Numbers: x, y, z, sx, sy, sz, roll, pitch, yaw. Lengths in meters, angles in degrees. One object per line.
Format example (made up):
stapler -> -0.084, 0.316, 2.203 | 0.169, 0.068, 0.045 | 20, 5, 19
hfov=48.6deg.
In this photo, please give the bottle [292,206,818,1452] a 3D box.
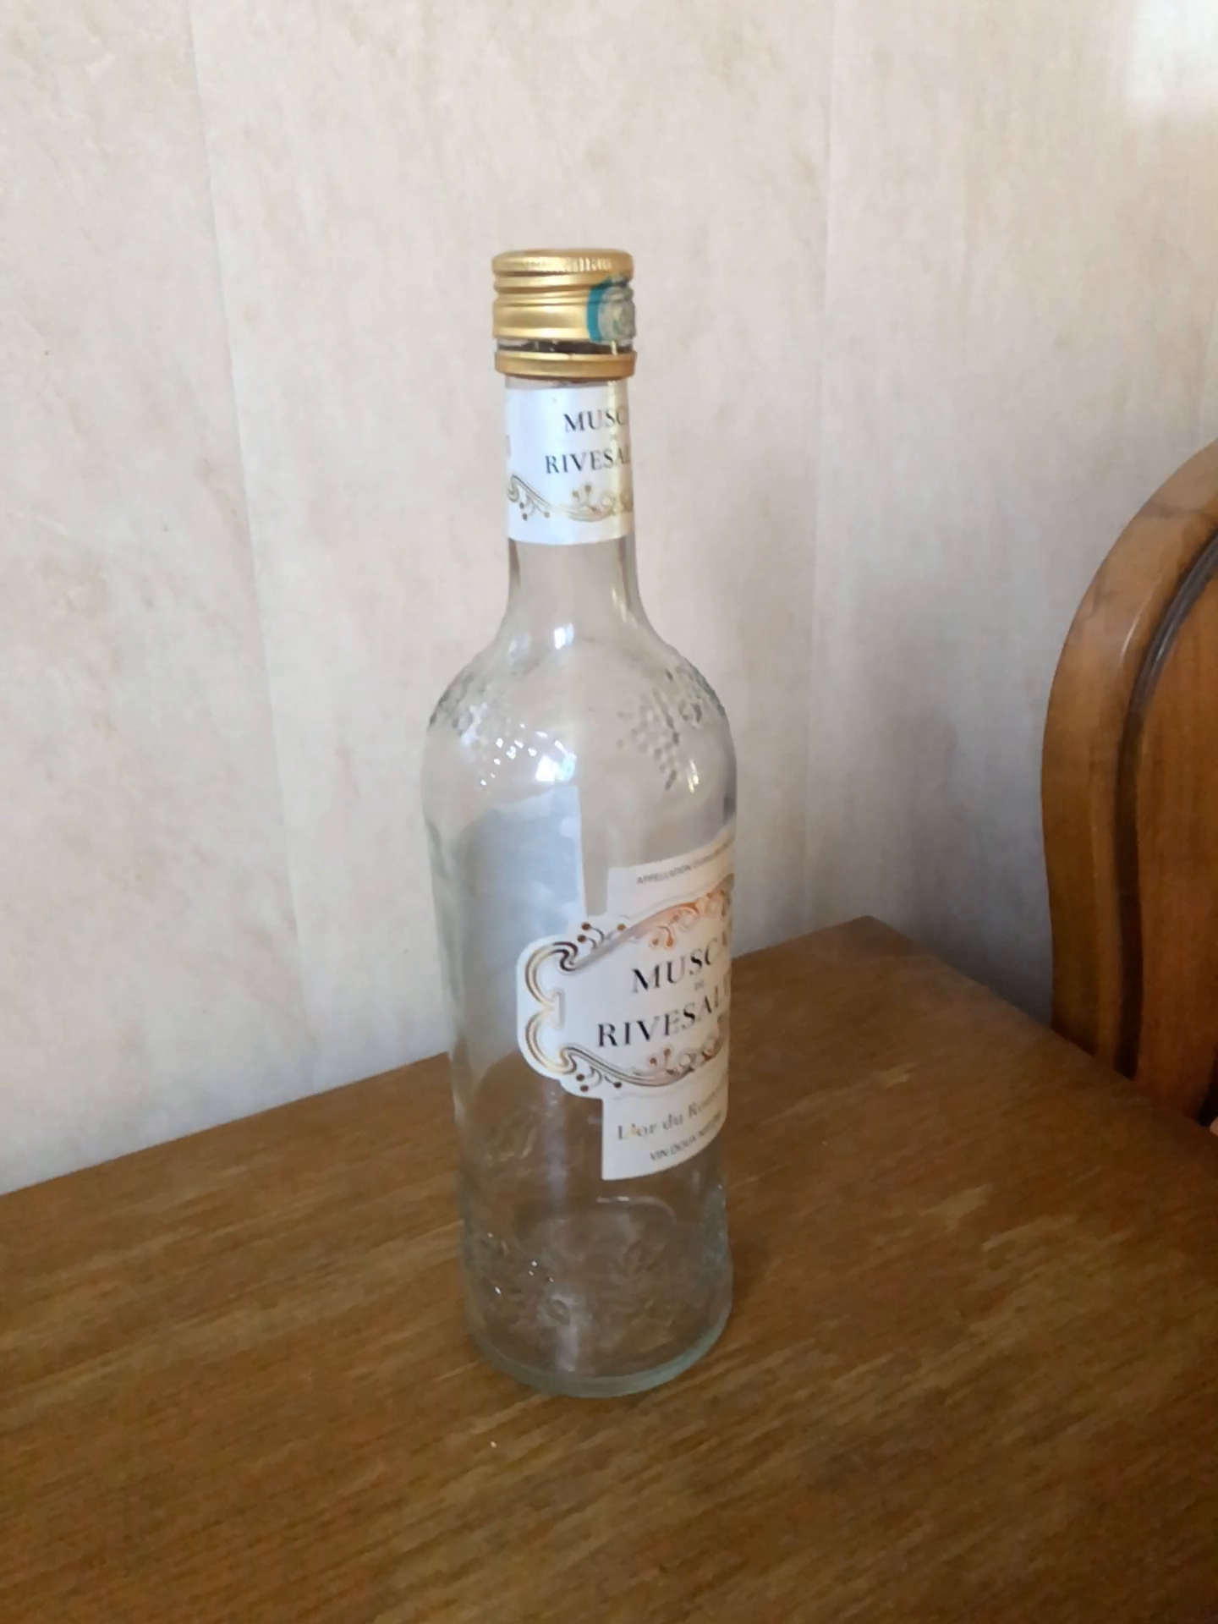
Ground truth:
bottle -> -0.009, 0.007, 0.341 | 0.080, 0.289, 0.080 | -1, 22, 0
